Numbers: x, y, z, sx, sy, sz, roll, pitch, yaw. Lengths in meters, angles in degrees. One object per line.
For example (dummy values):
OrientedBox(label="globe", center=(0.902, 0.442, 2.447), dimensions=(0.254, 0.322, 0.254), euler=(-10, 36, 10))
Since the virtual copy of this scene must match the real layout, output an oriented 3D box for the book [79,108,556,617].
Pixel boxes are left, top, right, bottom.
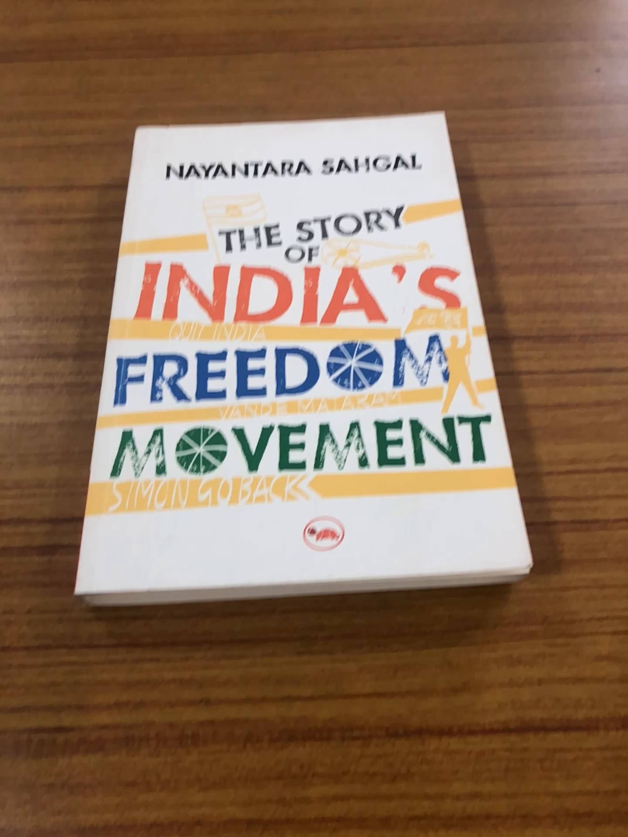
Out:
OrientedBox(label="book", center=(-0.002, -0.032, 0.251), dimensions=(0.130, 0.030, 0.190), euler=(-3, 61, 1))
